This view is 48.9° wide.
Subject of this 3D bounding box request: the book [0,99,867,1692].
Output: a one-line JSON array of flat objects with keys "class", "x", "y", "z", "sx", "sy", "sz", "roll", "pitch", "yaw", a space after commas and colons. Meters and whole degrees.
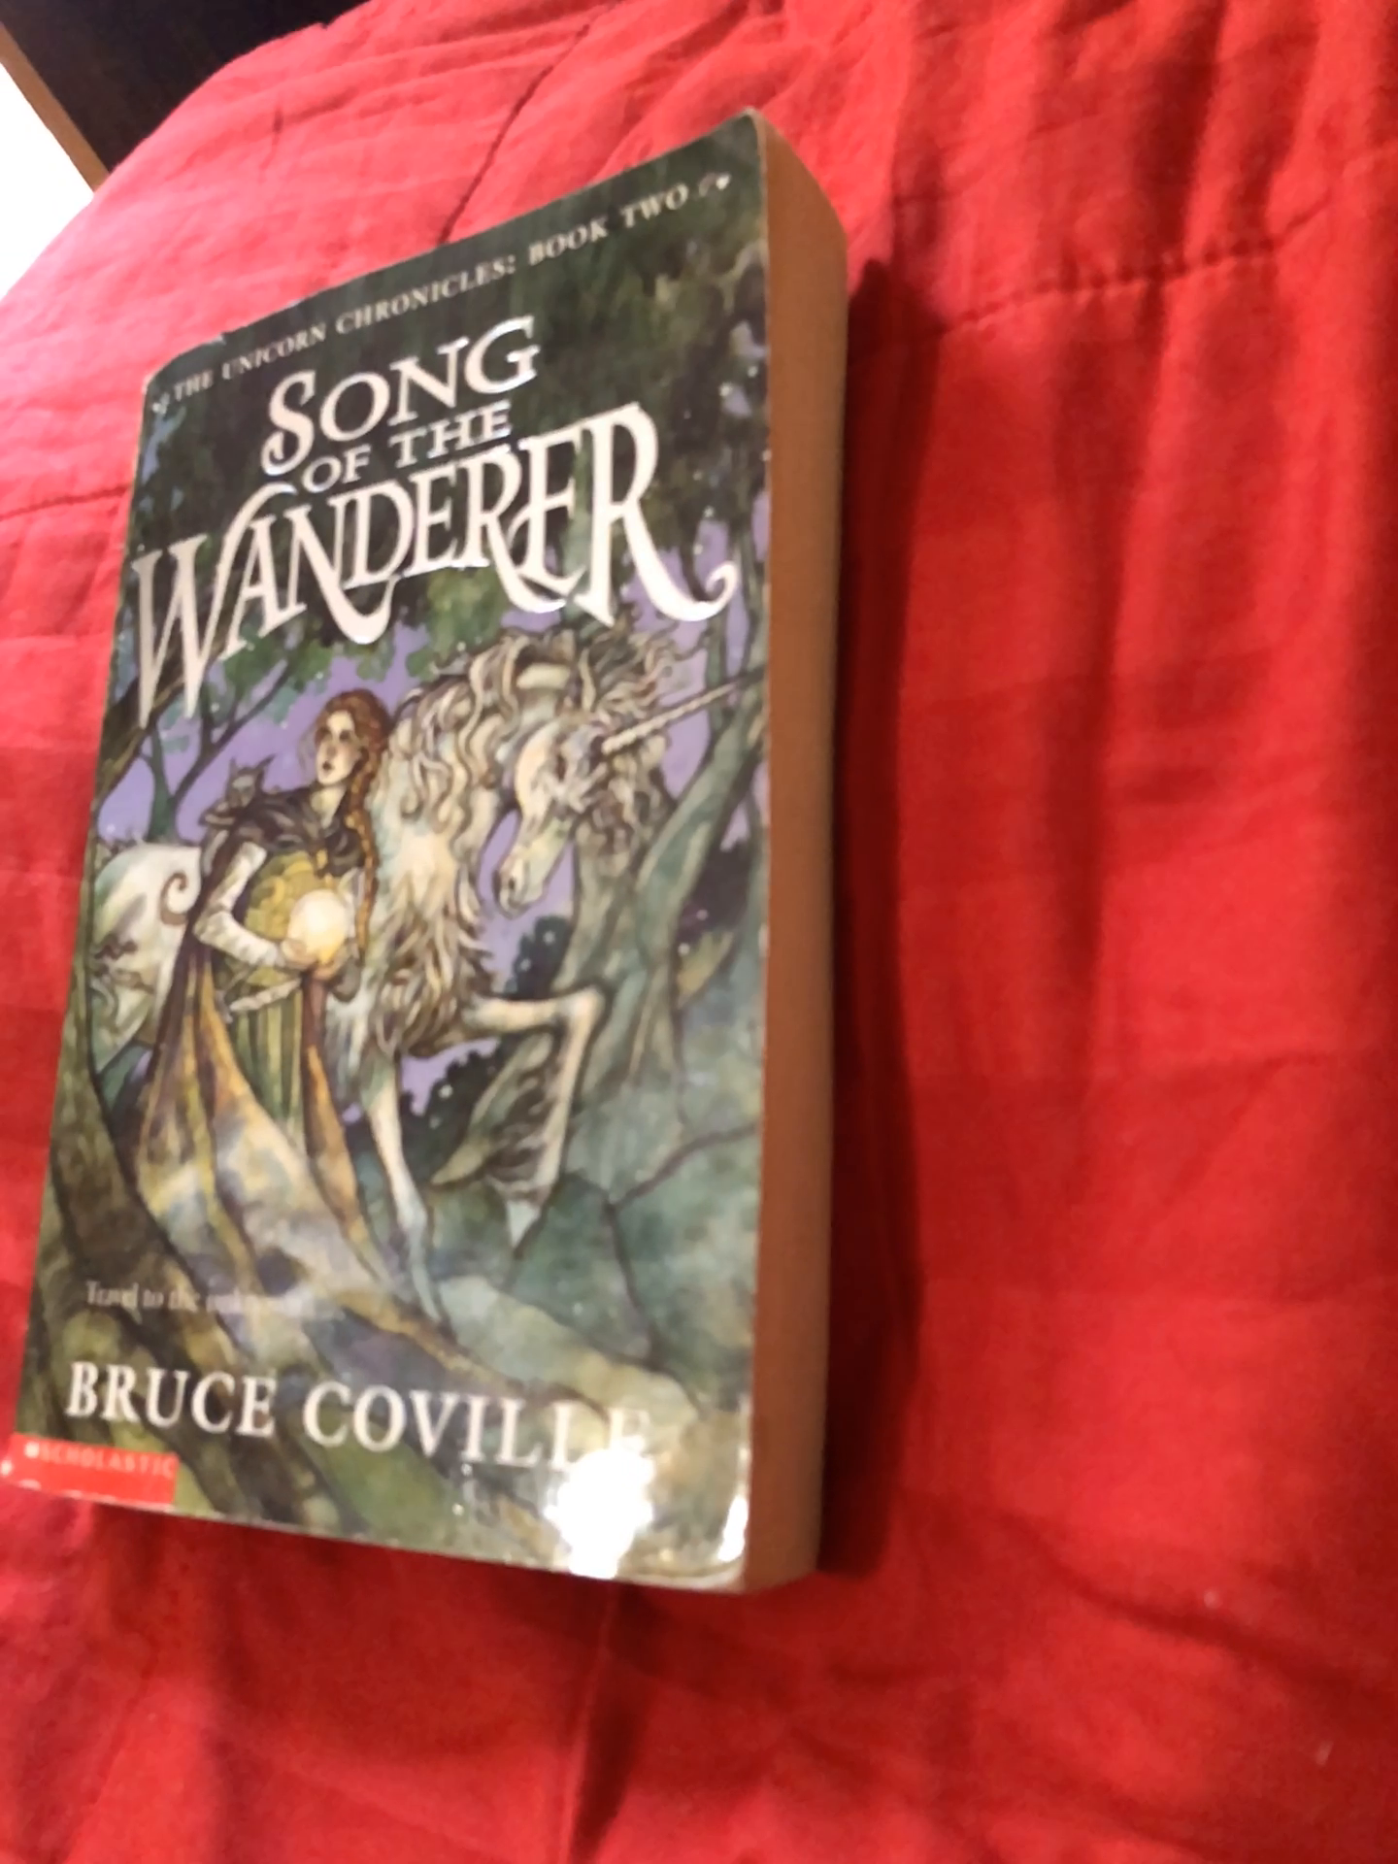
[{"class": "book", "x": -0.041, "y": -0.007, "z": 0.226, "sx": 0.130, "sy": 0.030, "sz": 0.190, "roll": -6, "pitch": 76, "yaw": 32}]
